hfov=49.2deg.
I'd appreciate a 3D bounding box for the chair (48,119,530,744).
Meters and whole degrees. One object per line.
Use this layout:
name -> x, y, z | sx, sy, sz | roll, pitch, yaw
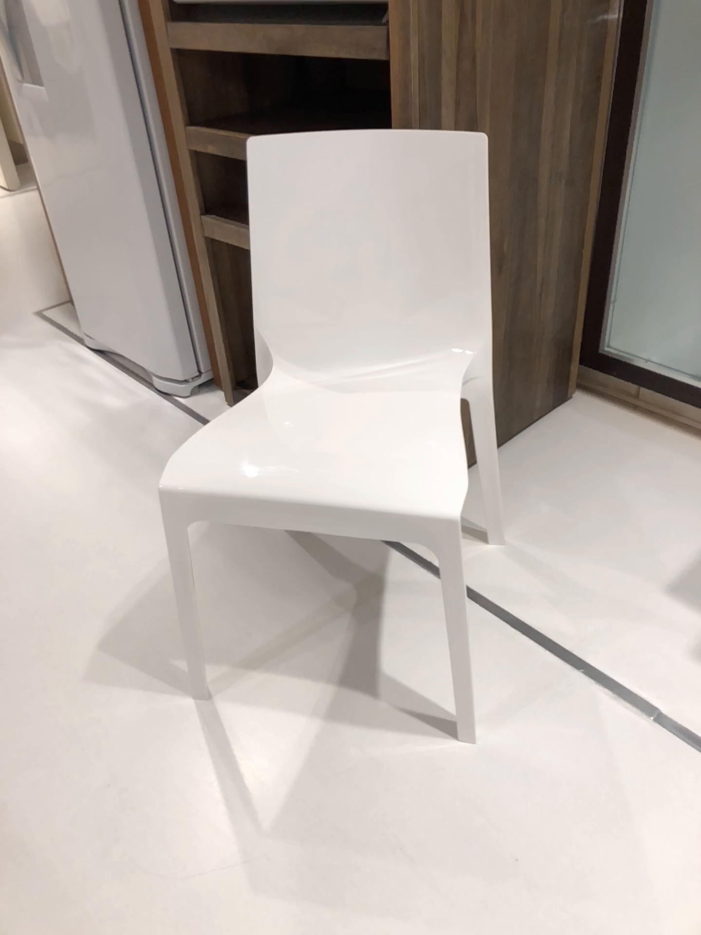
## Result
chair -> -0.005, -0.067, 1.178 | 0.480, 0.754, 0.524 | 4, 36, 12
